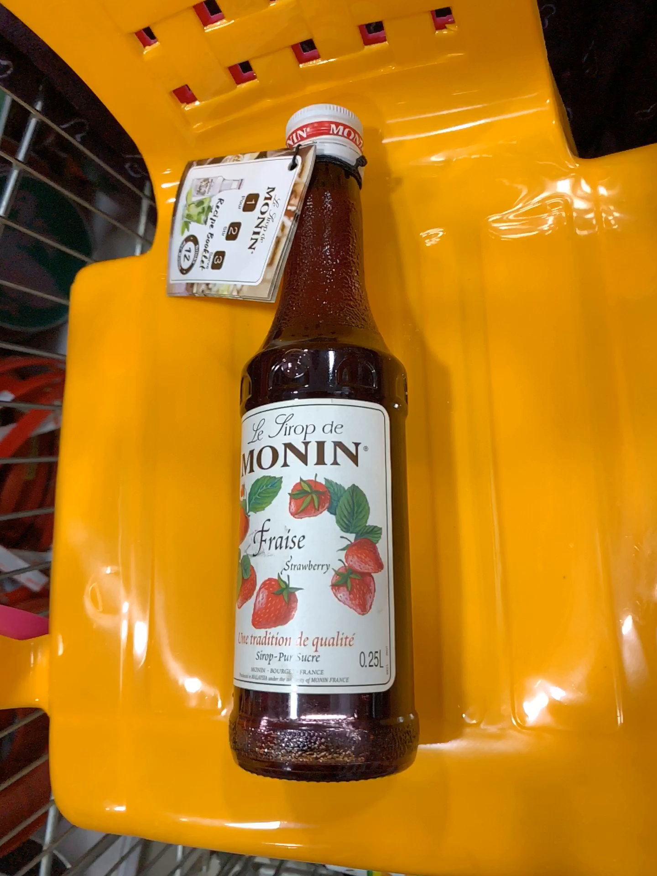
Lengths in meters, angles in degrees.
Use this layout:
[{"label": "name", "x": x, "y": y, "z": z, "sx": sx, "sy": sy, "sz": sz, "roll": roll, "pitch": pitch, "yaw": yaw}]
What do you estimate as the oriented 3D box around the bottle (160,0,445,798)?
[{"label": "bottle", "x": -0.003, "y": -0.020, "z": 0.219, "sx": 0.060, "sy": 0.060, "sz": 0.230, "roll": -5, "pitch": 72, "yaw": 18}]
